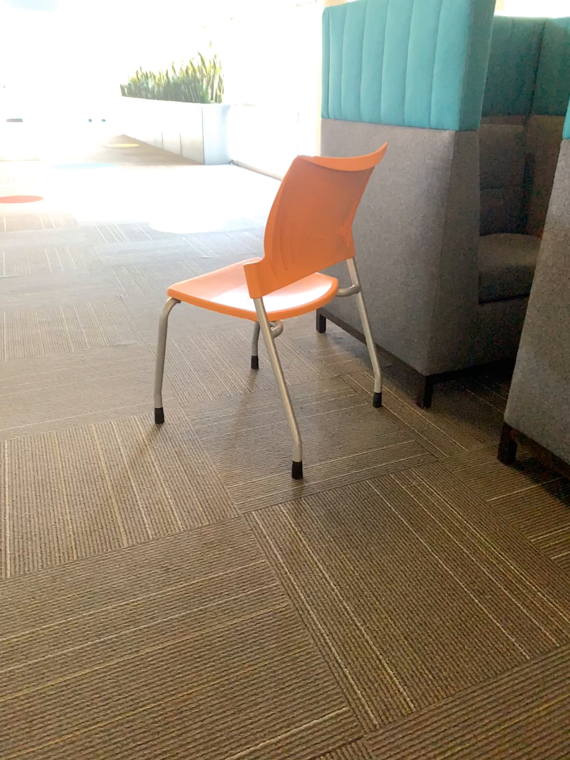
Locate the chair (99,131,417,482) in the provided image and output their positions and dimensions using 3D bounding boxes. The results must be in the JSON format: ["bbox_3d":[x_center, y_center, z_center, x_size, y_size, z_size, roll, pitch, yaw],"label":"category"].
[{"bbox_3d":[-0.052,-0.287,1.761,0.612,0.805,0.642,16,30,28],"label":"chair"}]
